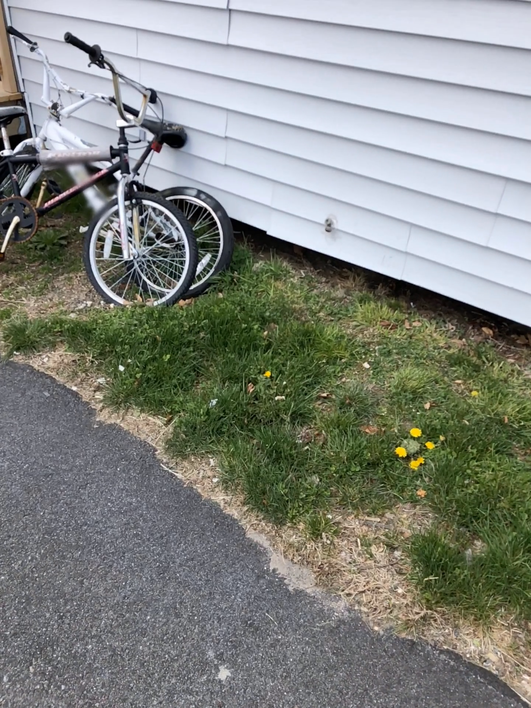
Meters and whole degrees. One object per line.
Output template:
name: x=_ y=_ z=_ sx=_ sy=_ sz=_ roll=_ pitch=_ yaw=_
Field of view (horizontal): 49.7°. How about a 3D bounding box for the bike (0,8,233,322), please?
bike: x=-0.843 y=-0.781 z=2.262 sx=1.294 sy=0.932 sz=0.762 roll=6 pitch=36 yaw=8
